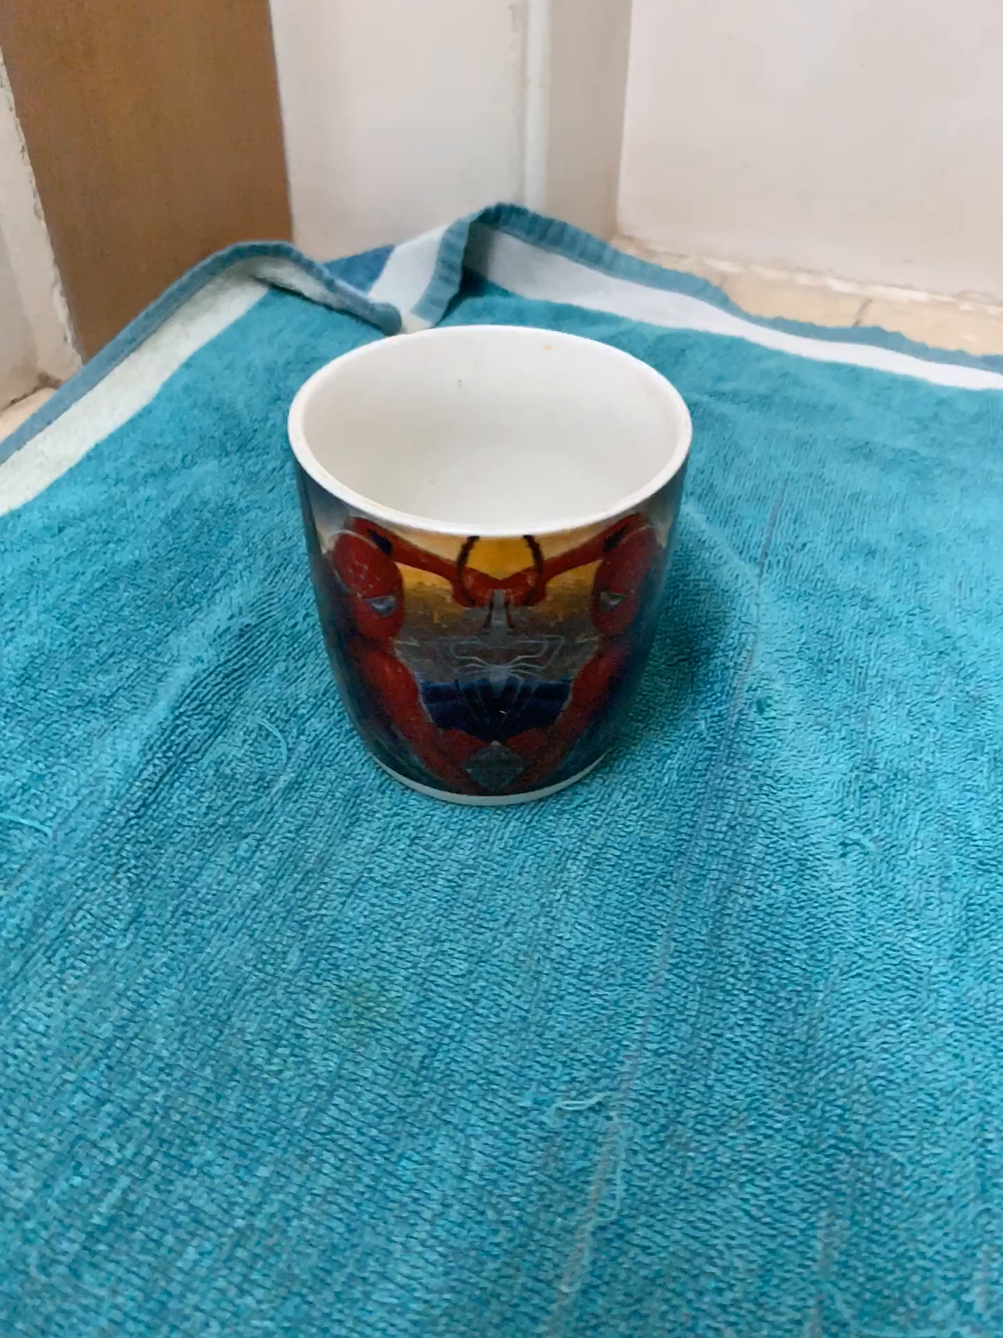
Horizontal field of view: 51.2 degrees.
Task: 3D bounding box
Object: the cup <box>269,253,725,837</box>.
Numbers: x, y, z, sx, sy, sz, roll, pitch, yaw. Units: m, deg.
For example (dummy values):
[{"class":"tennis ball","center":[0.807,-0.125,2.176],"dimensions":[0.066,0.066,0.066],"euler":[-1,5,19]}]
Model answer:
[{"class":"cup","center":[-0.003,-0.035,0.258],"dimensions":[0.080,0.089,0.121],"euler":[-1,41,-2]}]
